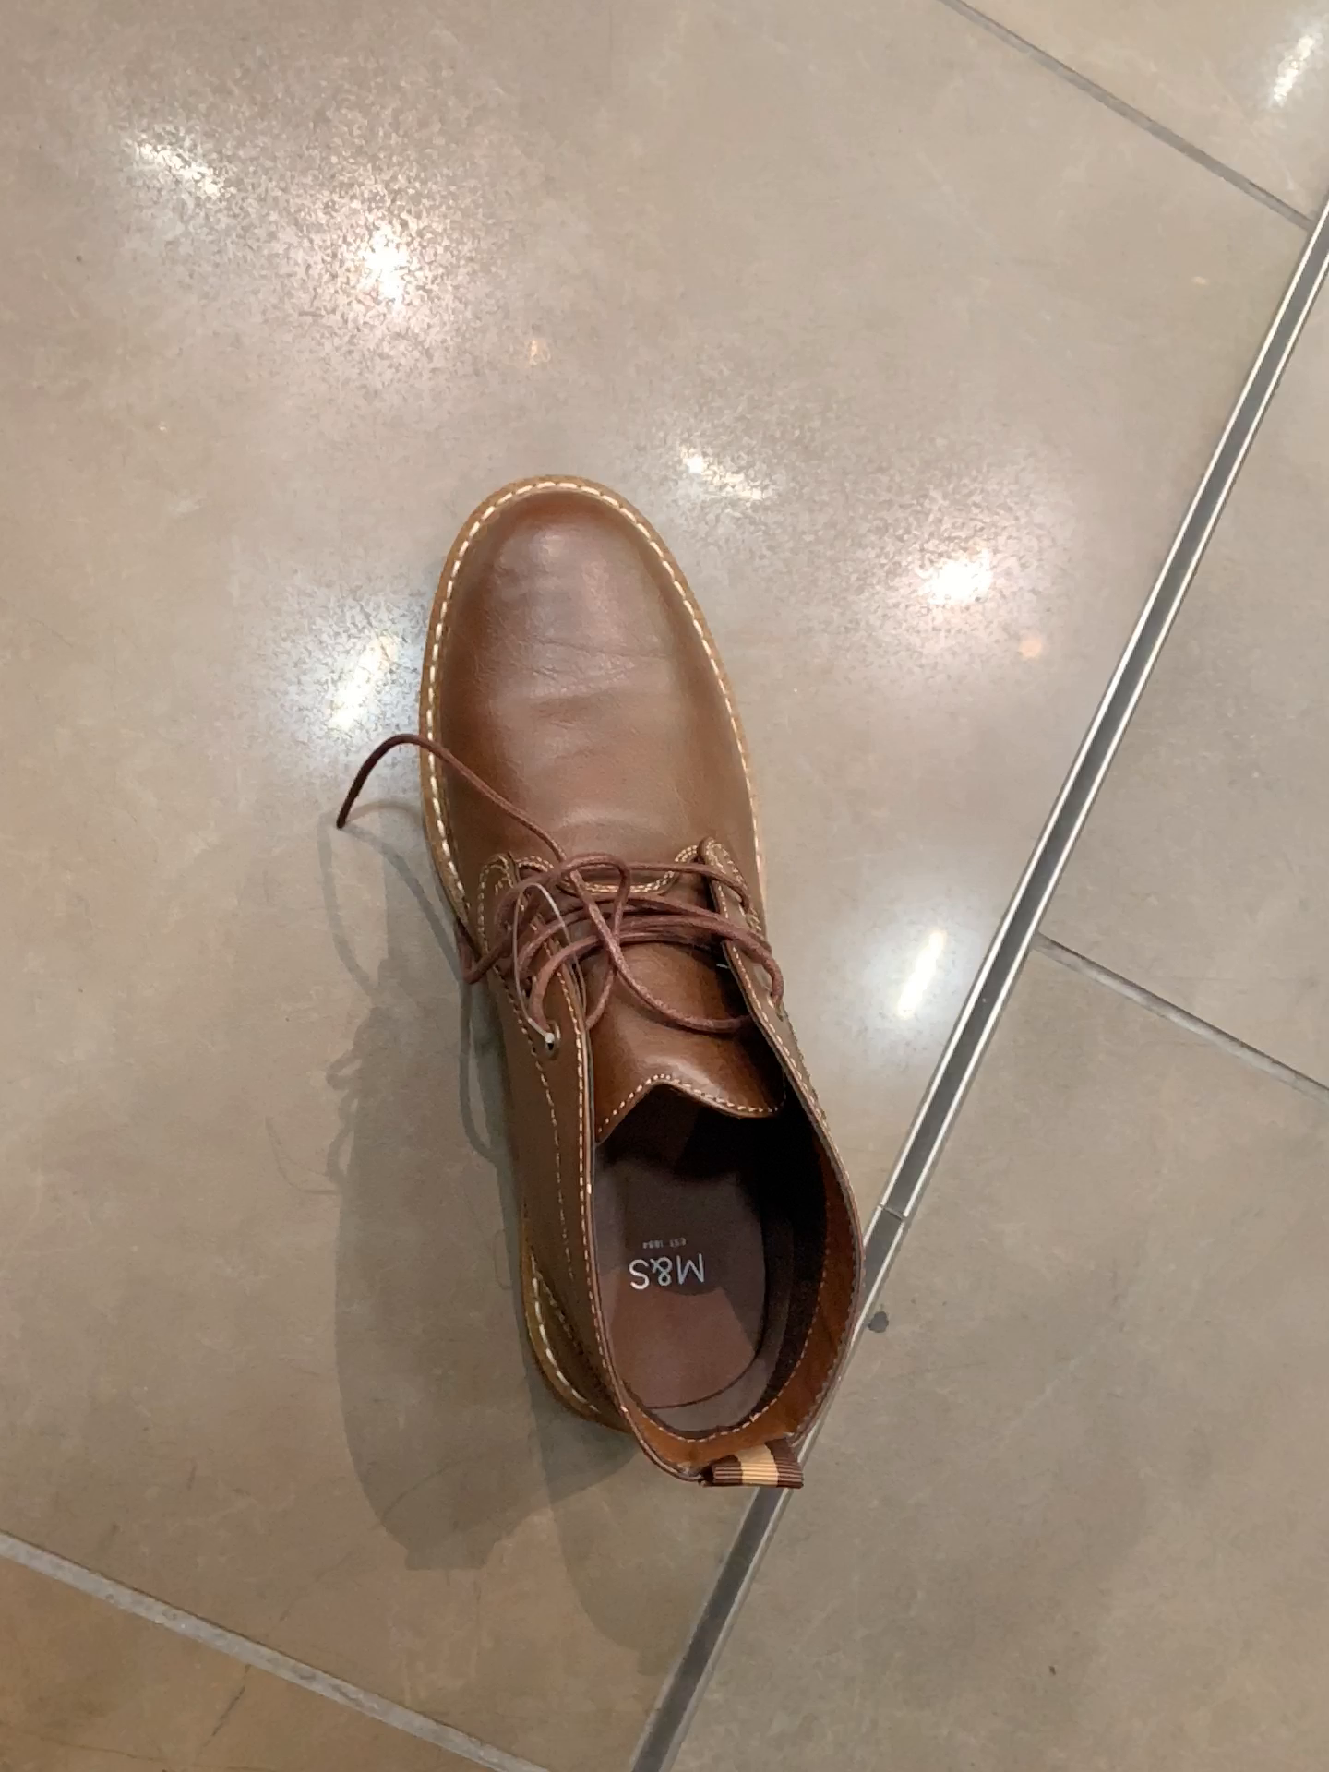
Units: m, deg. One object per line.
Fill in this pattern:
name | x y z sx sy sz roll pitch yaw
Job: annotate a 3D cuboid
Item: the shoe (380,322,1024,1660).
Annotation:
shoe | -0.002 0.019 0.373 0.107 0.120 0.295 -8 85 -11
